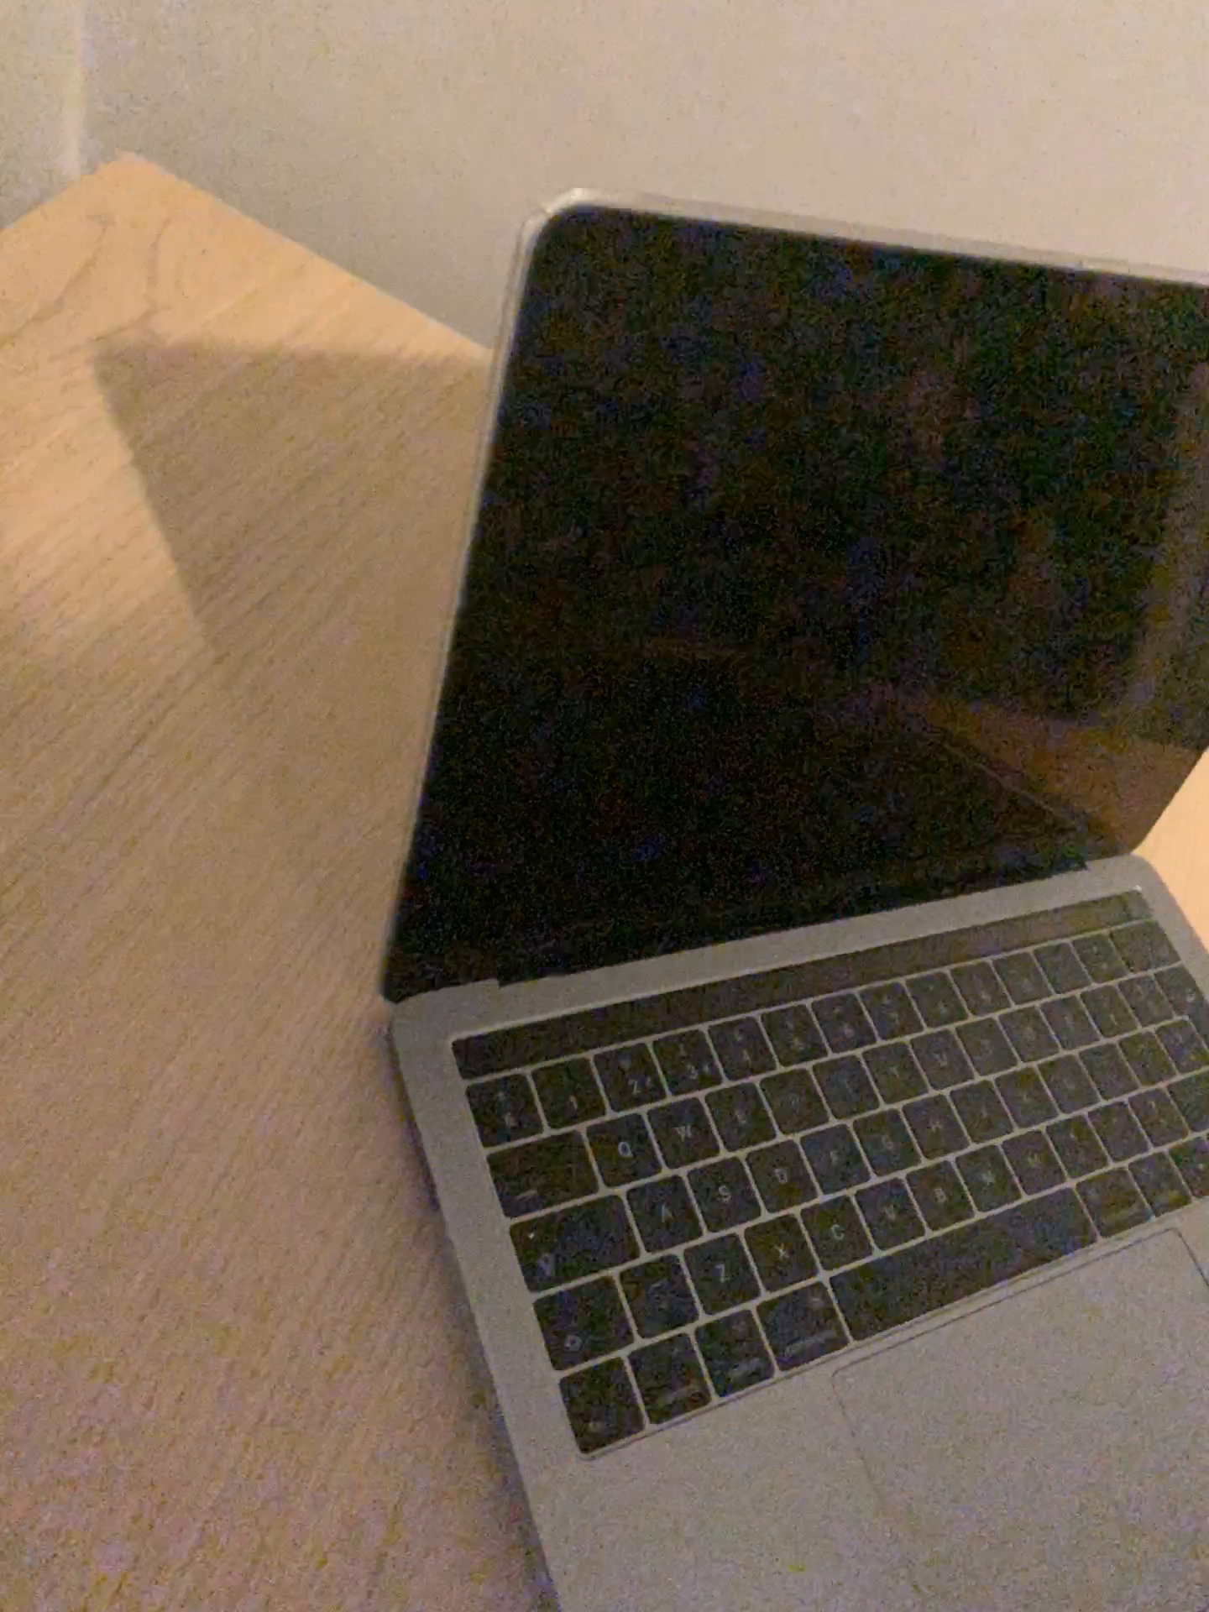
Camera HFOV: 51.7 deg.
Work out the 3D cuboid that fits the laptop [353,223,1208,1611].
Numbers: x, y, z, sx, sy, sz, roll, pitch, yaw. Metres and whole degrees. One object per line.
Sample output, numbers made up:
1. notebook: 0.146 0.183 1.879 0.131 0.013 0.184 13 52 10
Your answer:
1. laptop: 0.134 0.046 0.294 0.295 0.197 0.257 -7 59 -28
